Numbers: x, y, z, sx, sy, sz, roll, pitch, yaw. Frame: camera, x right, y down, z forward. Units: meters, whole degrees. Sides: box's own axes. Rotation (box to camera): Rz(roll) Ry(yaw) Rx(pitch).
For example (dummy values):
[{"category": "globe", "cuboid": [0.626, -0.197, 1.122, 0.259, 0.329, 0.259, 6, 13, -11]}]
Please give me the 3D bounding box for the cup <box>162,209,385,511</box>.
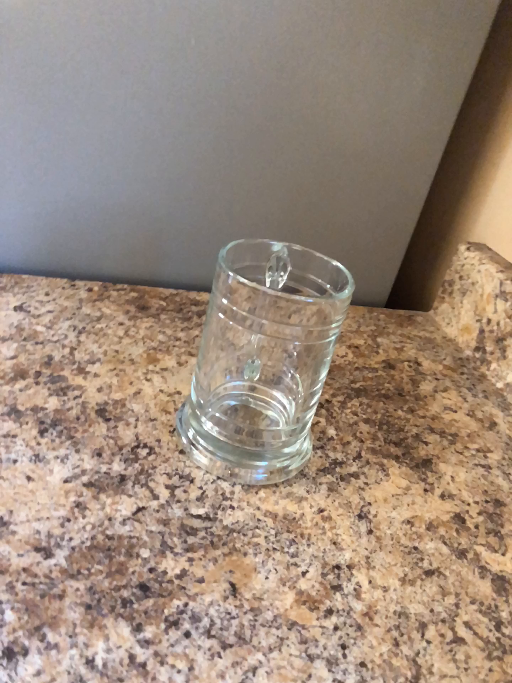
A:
[{"category": "cup", "cuboid": [0.008, 0.007, 0.385, 0.100, 0.139, 0.131, 12, 30, -3]}]
